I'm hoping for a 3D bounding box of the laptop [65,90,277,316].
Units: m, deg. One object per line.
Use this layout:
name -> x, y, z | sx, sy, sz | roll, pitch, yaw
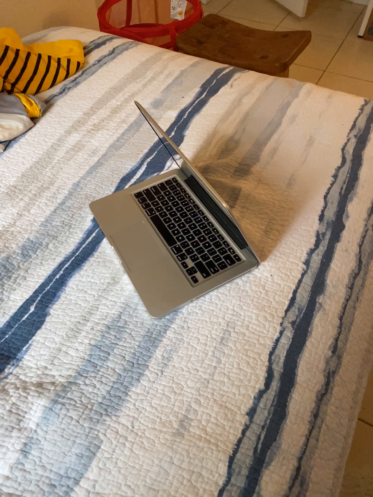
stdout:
laptop -> -0.040, -0.094, 0.691 | 0.220, 0.191, 0.316 | -25, 55, -16
